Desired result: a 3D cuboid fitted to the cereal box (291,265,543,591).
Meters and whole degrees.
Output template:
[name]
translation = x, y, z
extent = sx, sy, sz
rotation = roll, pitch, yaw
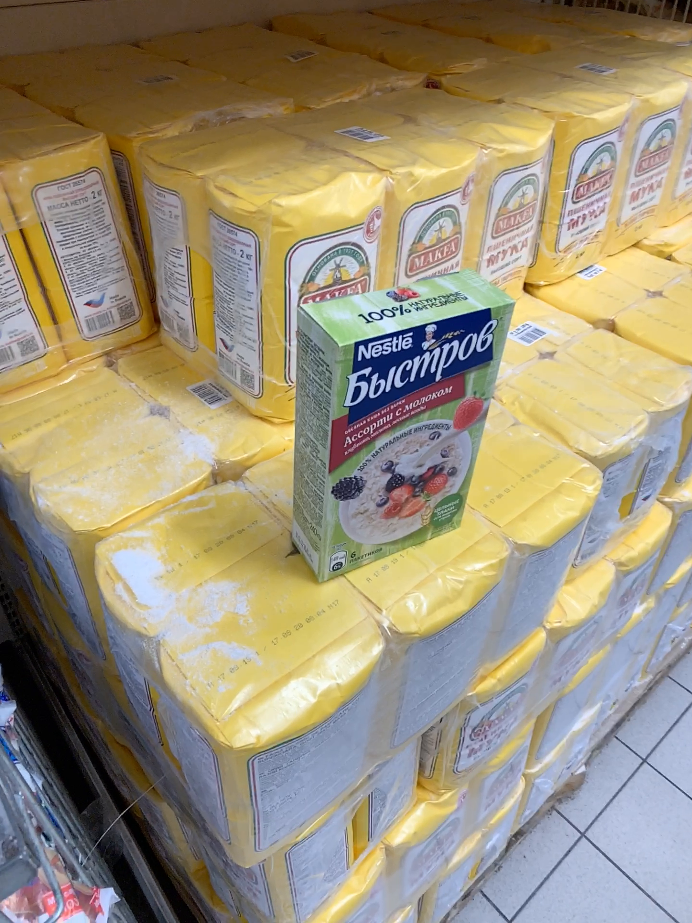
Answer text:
[cereal box]
translation = 0.034, -0.016, 0.431
extent = 0.120, 0.178, 0.050
rotation = -18, 47, -25
